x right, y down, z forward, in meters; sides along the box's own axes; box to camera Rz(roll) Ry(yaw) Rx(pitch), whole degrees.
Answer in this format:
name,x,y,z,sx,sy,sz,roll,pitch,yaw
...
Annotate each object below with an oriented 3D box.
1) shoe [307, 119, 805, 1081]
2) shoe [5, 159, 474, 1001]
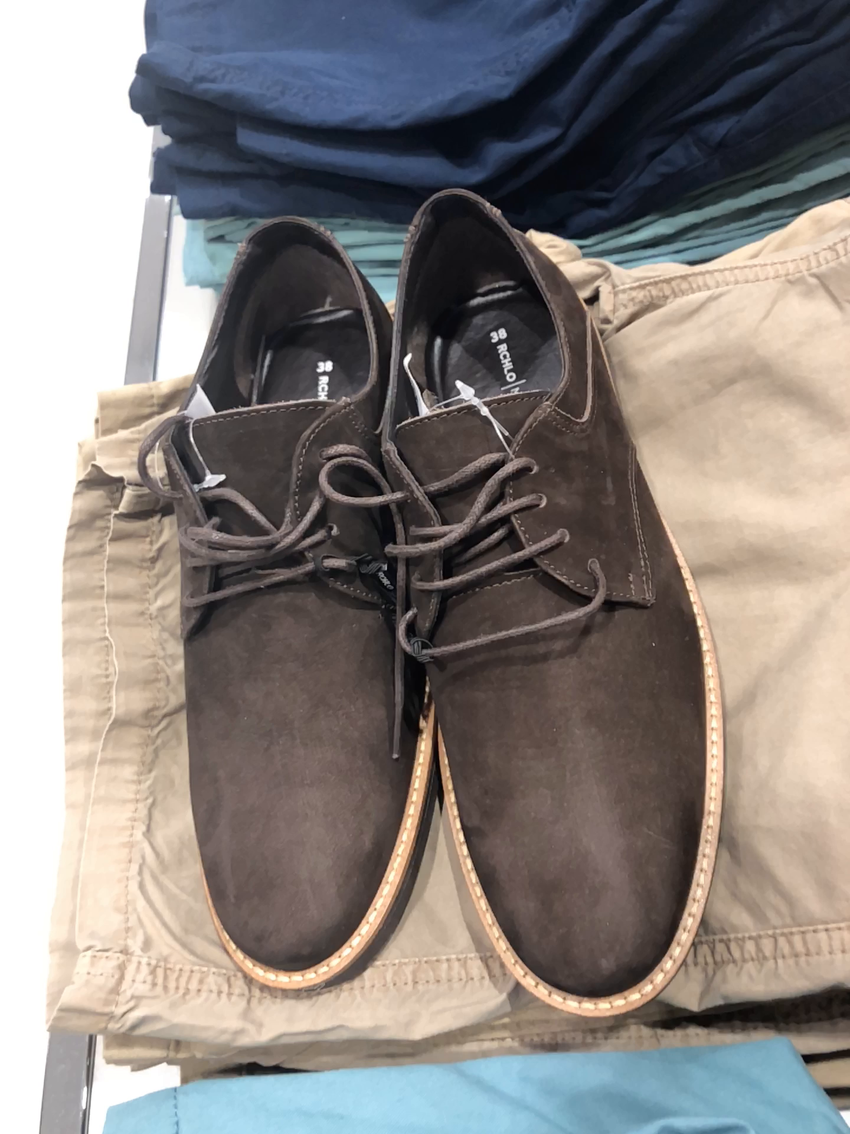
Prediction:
name,x,y,z,sx,sy,sz,roll,pitch,yaw
shoe,0.037,0.008,0.305,0.100,0.110,0.261,-13,66,16
shoe,-0.049,0.006,0.342,0.110,0.110,0.261,-5,71,15
